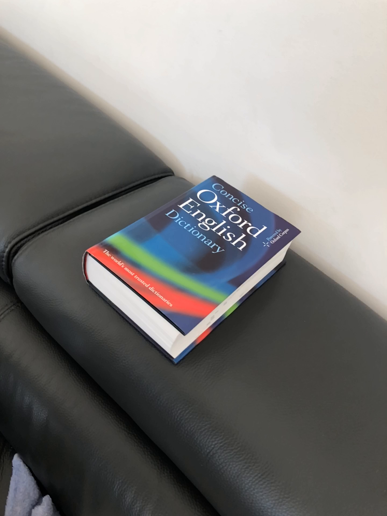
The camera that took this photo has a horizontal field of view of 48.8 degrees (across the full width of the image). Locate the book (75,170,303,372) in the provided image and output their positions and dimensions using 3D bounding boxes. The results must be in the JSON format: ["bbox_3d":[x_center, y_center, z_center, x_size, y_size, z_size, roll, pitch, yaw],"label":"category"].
[{"bbox_3d":[0.001,-0.002,0.562,0.170,0.070,0.252,37,49,20],"label":"book"}]
